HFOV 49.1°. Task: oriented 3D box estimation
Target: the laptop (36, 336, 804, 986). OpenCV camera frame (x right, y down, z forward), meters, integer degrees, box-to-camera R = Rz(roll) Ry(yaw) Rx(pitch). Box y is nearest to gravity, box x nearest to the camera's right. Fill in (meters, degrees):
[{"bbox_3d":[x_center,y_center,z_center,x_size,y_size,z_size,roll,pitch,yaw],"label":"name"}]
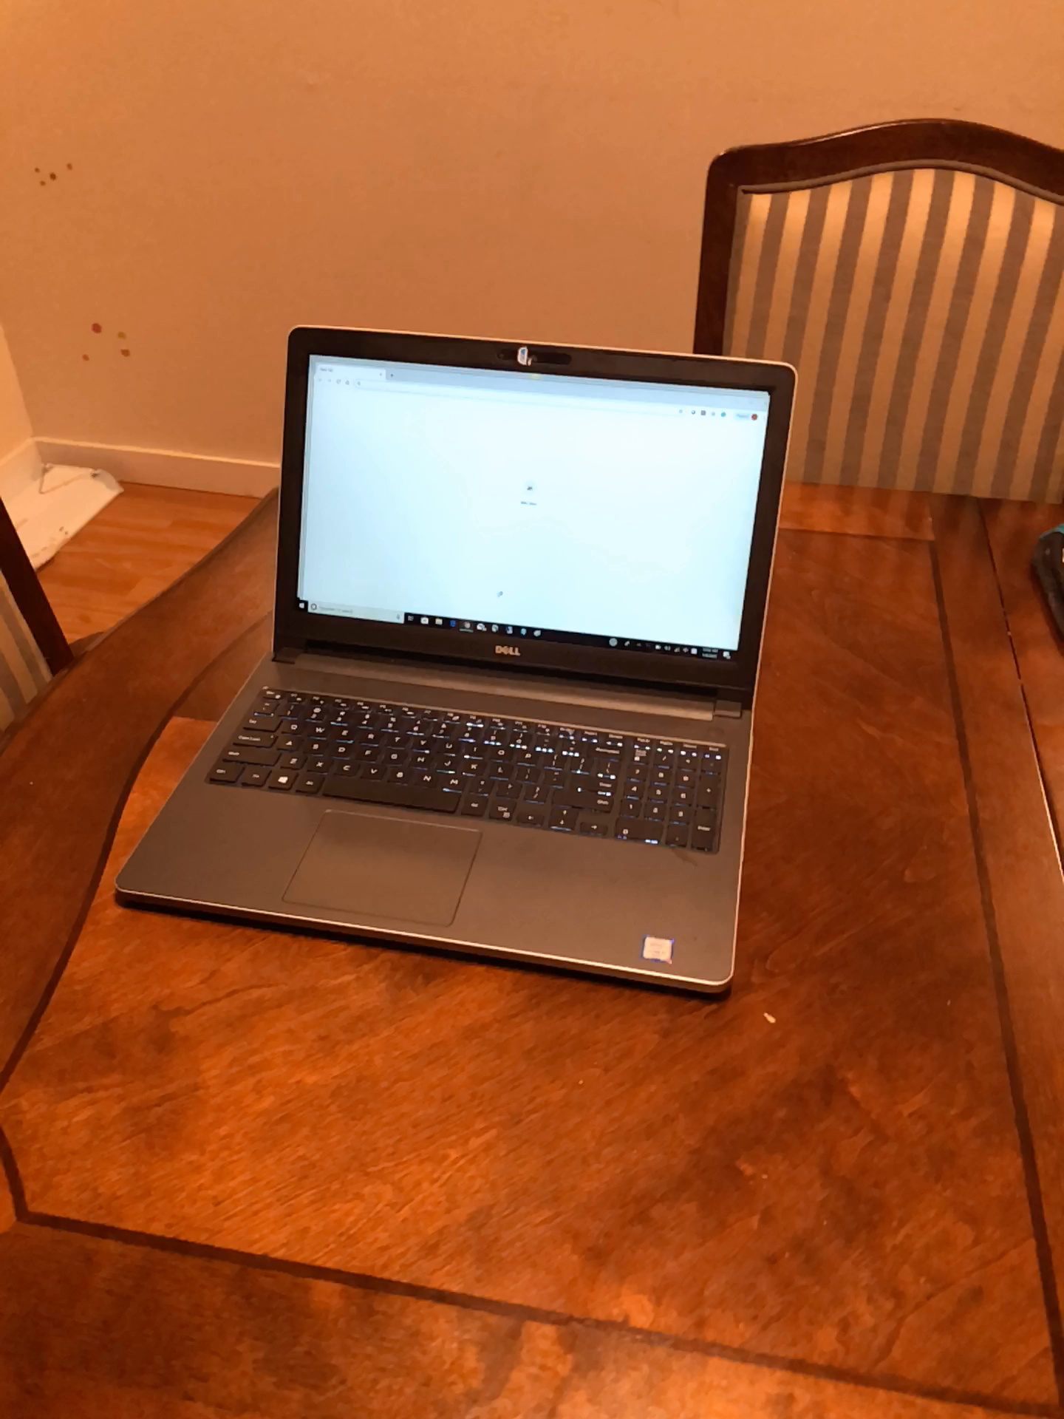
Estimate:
[{"bbox_3d":[-0.030,-0.061,0.757,0.369,0.212,0.362,7,38,10],"label":"laptop"}]
